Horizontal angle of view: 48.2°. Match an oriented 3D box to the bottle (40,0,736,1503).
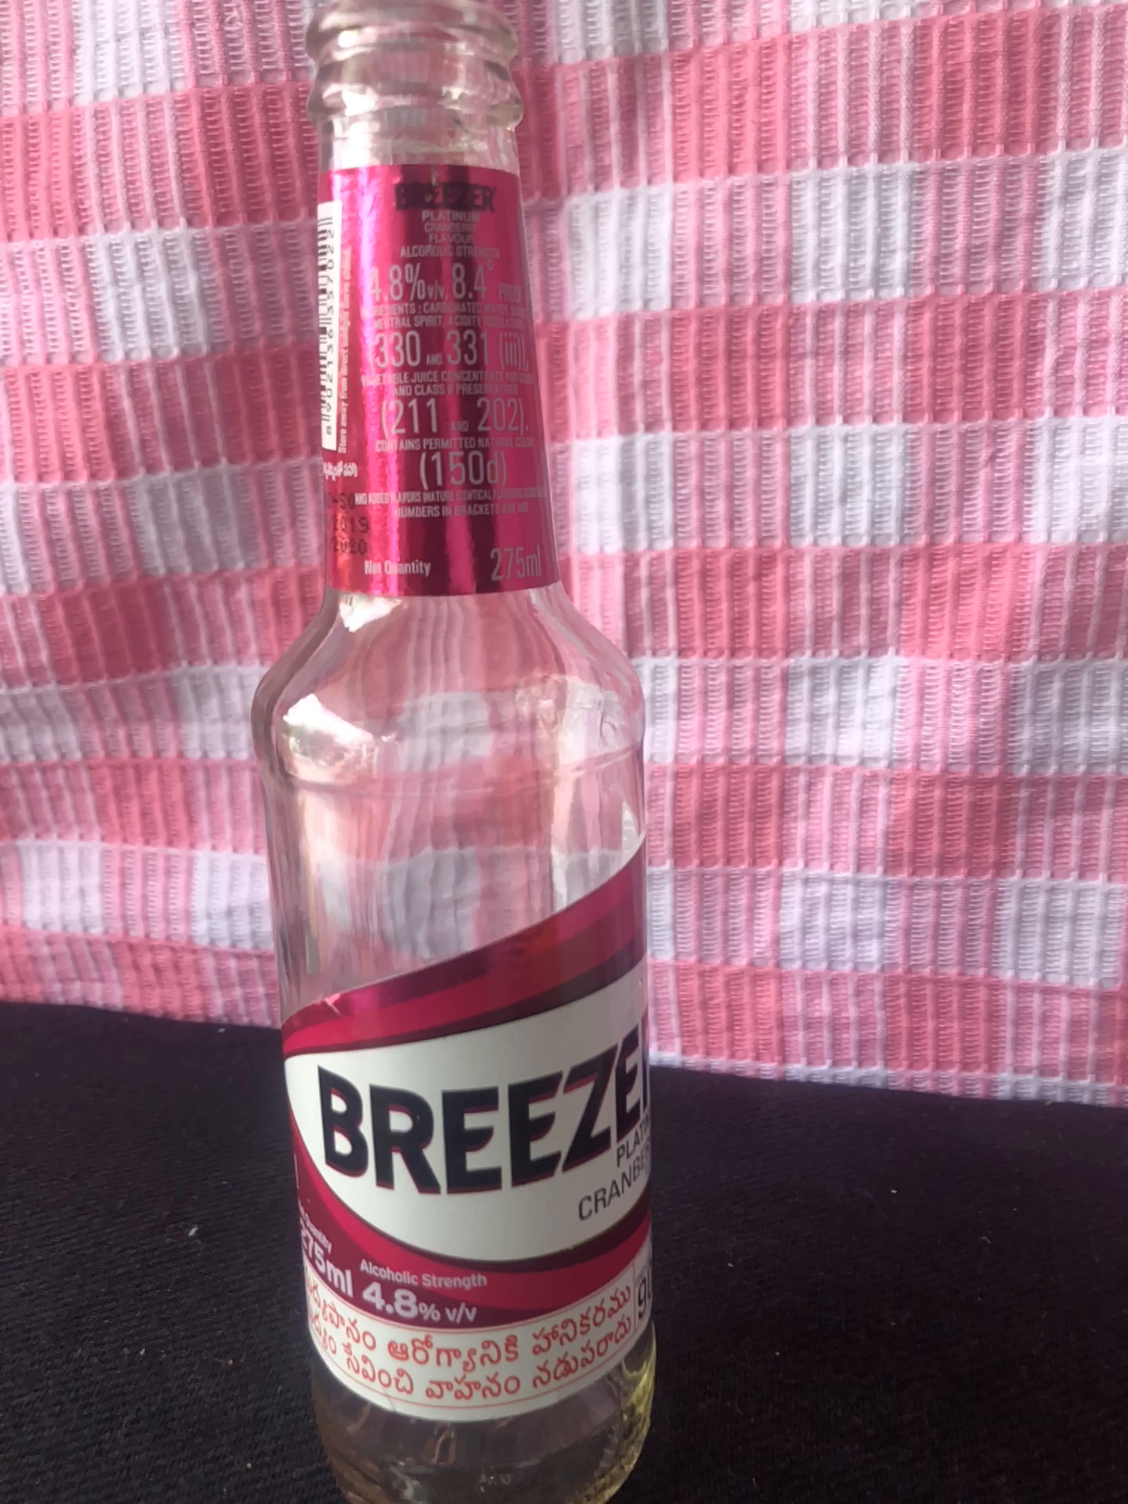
[{"bbox_3d":[-0.020,0.017,0.168,0.060,0.209,0.060,0,17,0],"label":"bottle"}]
